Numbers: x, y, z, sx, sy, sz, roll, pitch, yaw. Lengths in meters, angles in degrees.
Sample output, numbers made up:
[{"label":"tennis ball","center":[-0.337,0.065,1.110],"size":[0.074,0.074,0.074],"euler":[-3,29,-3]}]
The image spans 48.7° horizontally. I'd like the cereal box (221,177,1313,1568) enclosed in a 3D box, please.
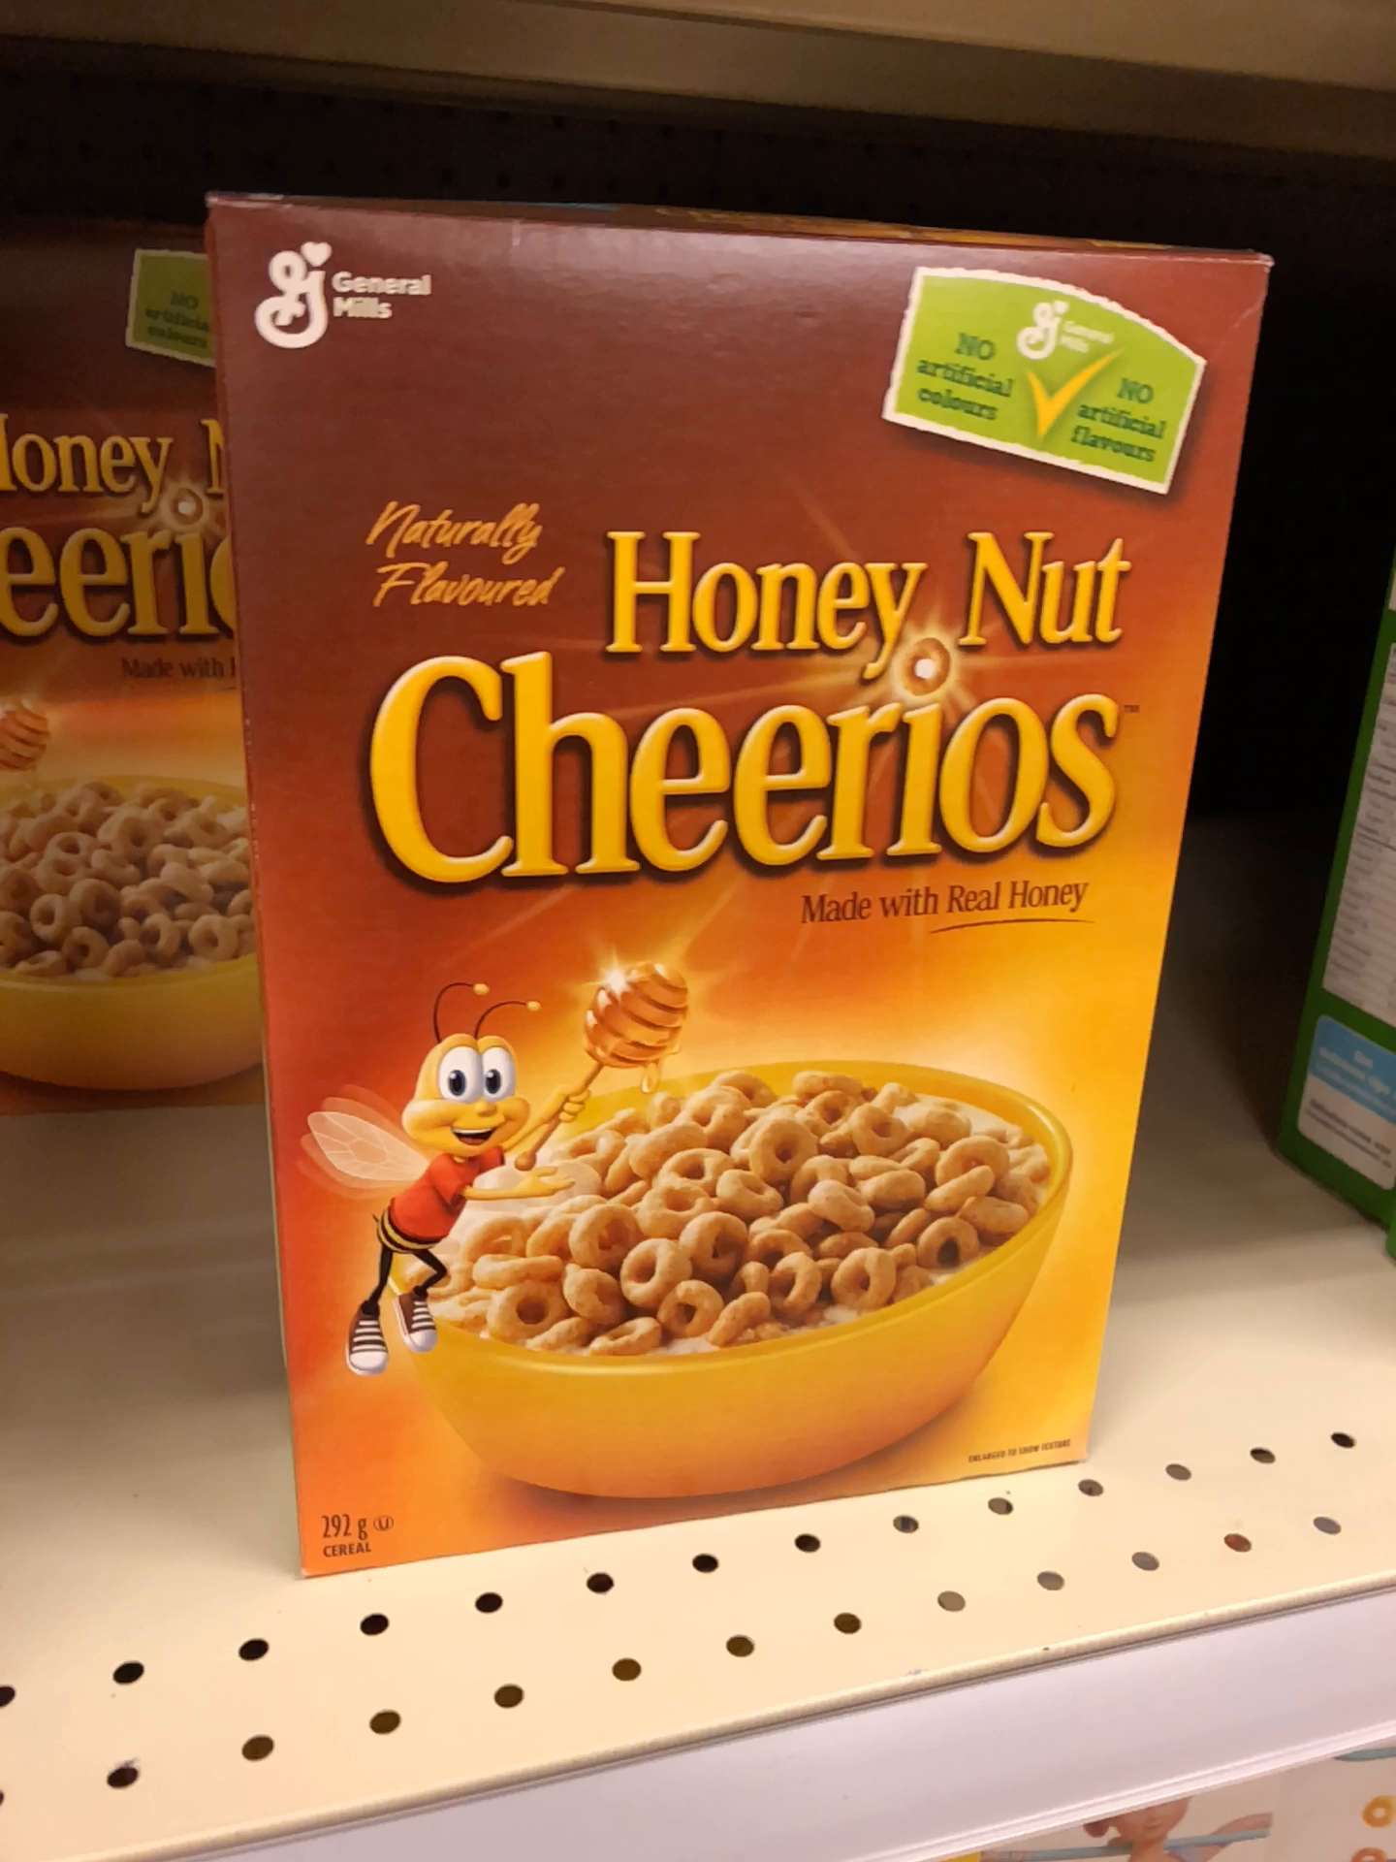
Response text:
[{"label":"cereal box","center":[0.006,-0.005,0.332],"size":[0.190,0.269,0.060],"euler":[-3,22,-14]}]
